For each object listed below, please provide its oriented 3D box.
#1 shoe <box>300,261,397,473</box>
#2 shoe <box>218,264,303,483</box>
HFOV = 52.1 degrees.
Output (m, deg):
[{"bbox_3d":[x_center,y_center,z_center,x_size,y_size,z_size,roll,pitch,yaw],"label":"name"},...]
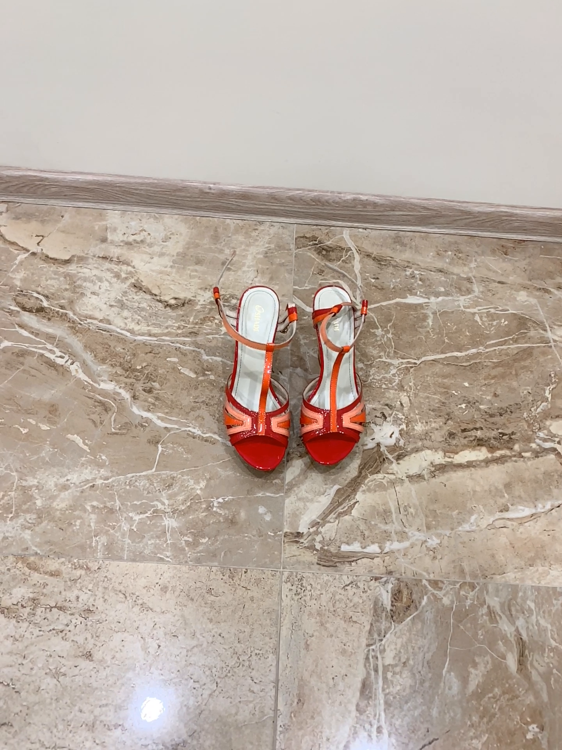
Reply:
[{"bbox_3d":[0.072,-0.011,0.693,0.080,0.129,0.218,1,56,-3],"label":"shoe"},{"bbox_3d":[-0.026,-0.002,0.686,0.083,0.139,0.218,1,56,-3],"label":"shoe"}]
